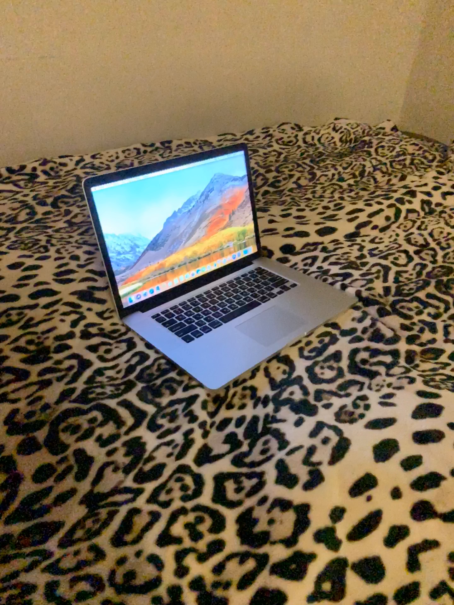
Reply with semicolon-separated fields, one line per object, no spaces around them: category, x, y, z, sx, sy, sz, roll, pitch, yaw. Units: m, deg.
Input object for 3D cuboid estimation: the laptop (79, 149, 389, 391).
laptop;0.009;-0.086;0.759;0.350;0.222;0.300;-26;42;-34
